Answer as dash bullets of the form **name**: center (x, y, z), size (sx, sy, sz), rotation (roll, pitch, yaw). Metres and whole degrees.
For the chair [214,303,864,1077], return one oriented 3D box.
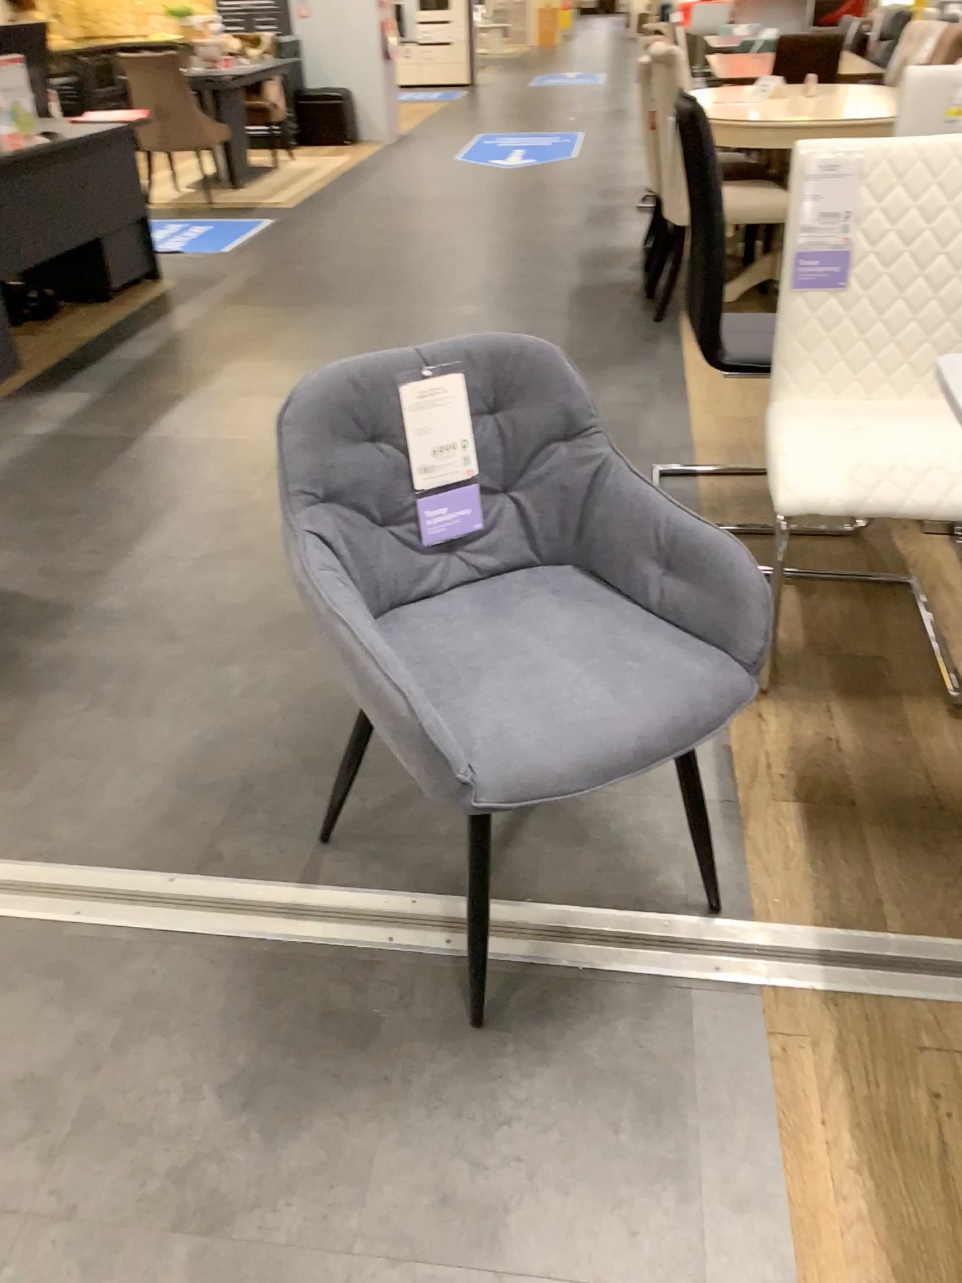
- **chair**: center (0.042, 0.023, 1.397), size (0.561, 0.776, 0.593), rotation (-17, 36, -22)
